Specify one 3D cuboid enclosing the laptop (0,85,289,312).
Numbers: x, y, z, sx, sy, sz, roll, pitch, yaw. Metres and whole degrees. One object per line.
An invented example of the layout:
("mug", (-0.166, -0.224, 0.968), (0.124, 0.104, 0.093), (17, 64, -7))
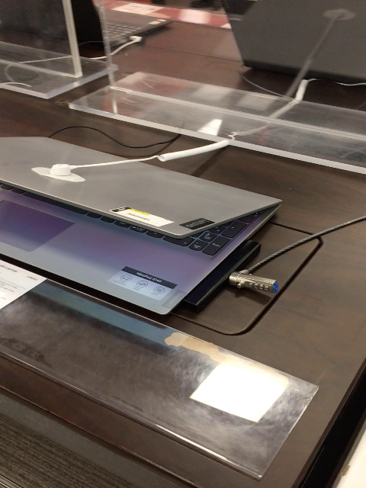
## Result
("laptop", (-0.119, -0.079, 0.582), (0.381, 0.097, 0.236), (20, 45, 22))
